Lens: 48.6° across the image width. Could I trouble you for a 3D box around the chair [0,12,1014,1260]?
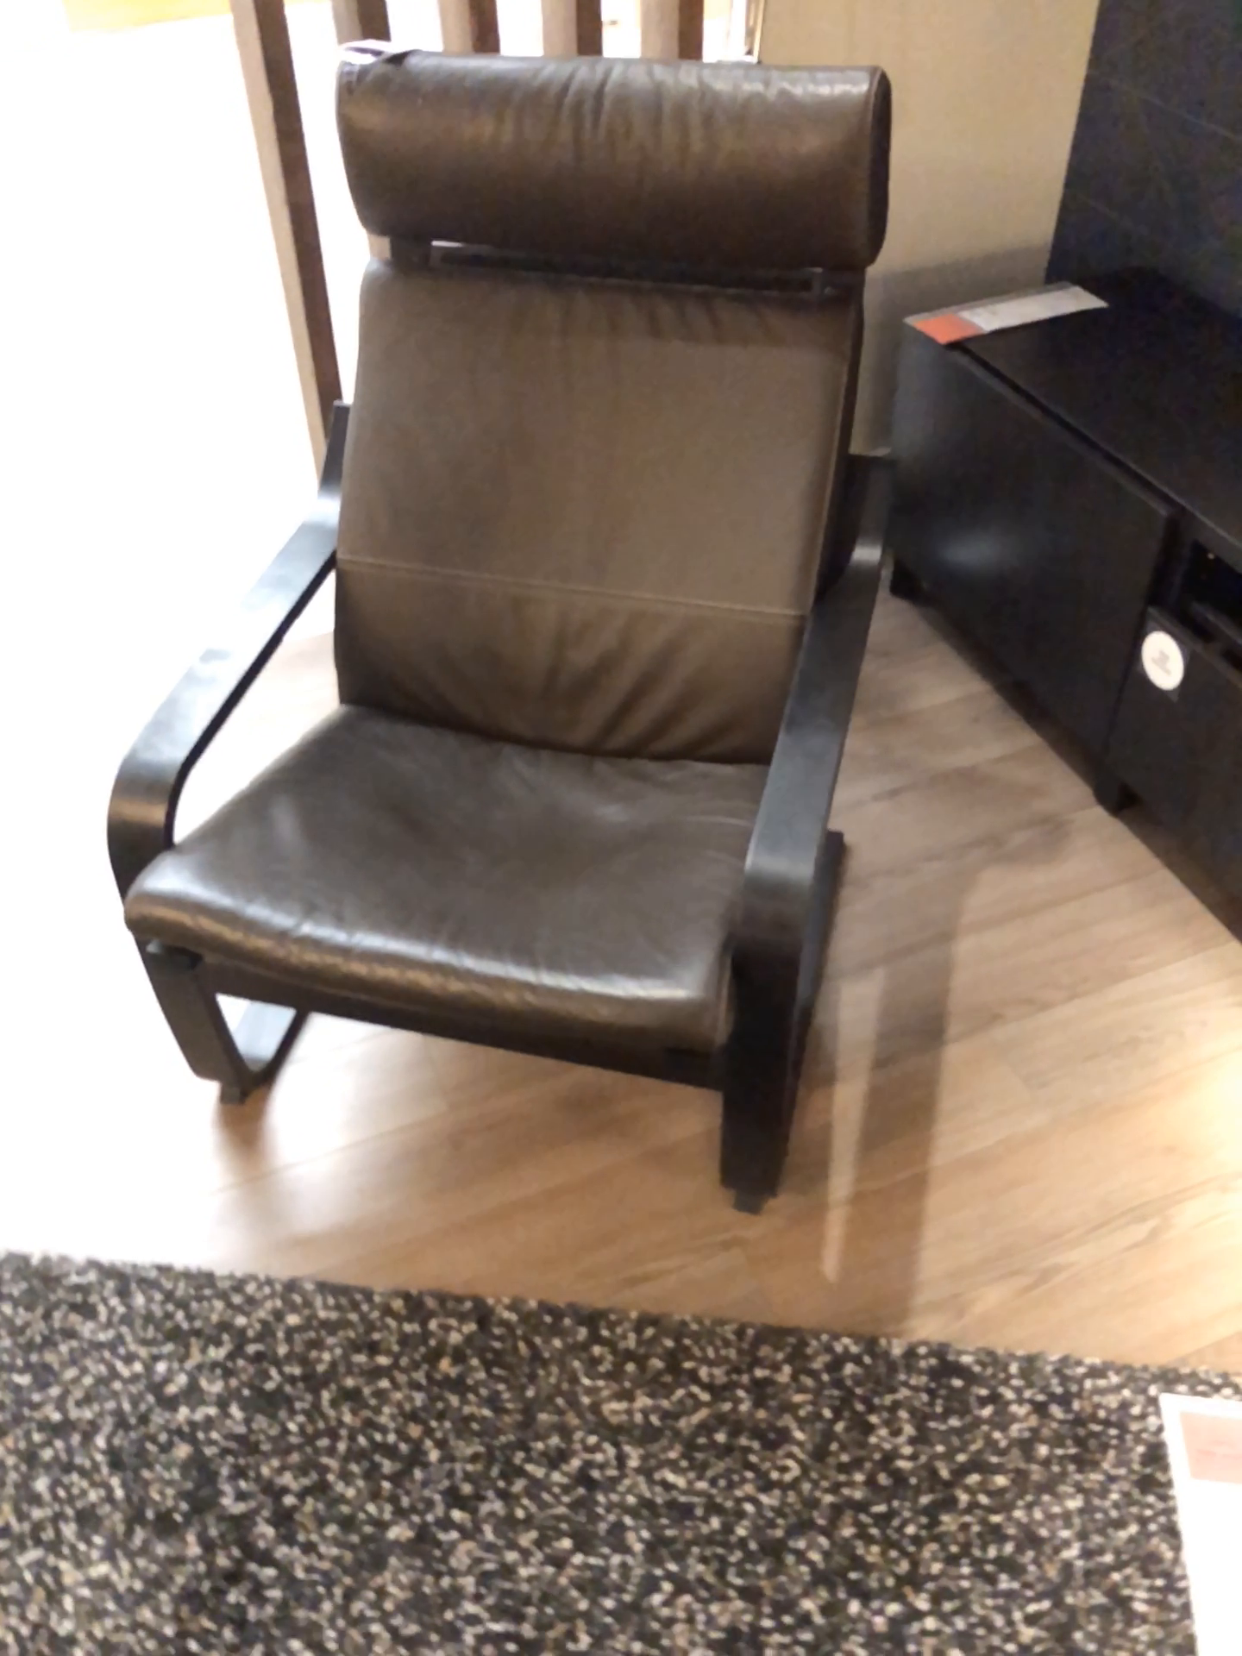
[{"bbox_3d":[-0.098,-0.202,1.363,0.780,0.876,0.733,8,44,10],"label":"chair"}]
